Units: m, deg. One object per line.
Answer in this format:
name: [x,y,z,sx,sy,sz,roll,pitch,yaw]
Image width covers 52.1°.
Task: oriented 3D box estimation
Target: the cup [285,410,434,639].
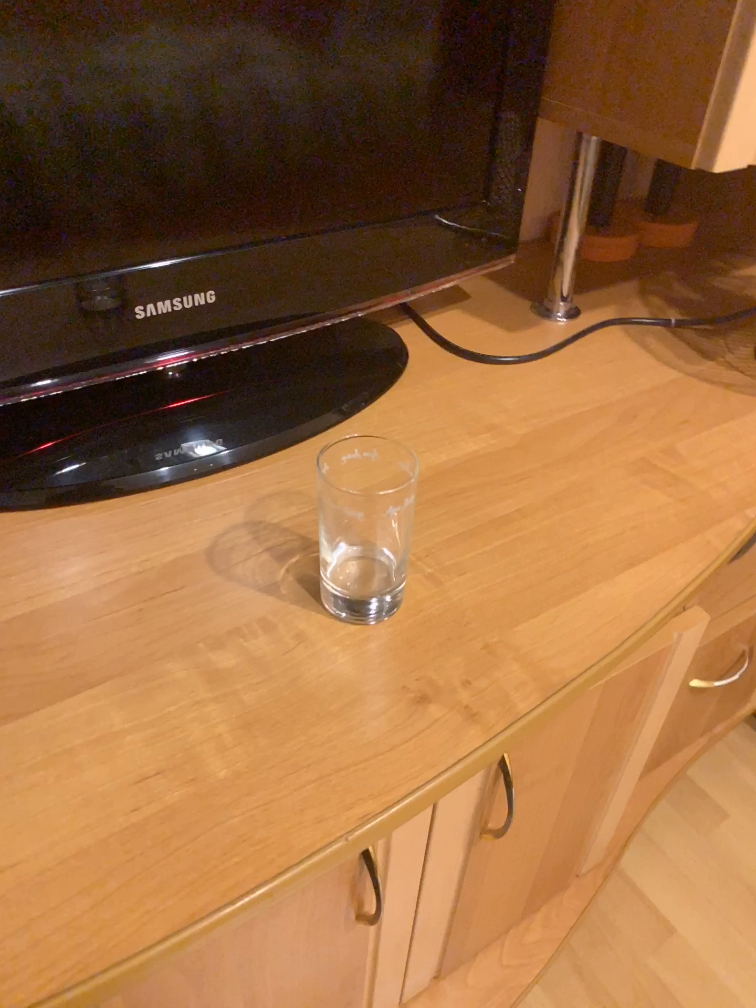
cup: [-0.010,0.011,0.427,0.060,0.099,0.061,2,38,-1]
